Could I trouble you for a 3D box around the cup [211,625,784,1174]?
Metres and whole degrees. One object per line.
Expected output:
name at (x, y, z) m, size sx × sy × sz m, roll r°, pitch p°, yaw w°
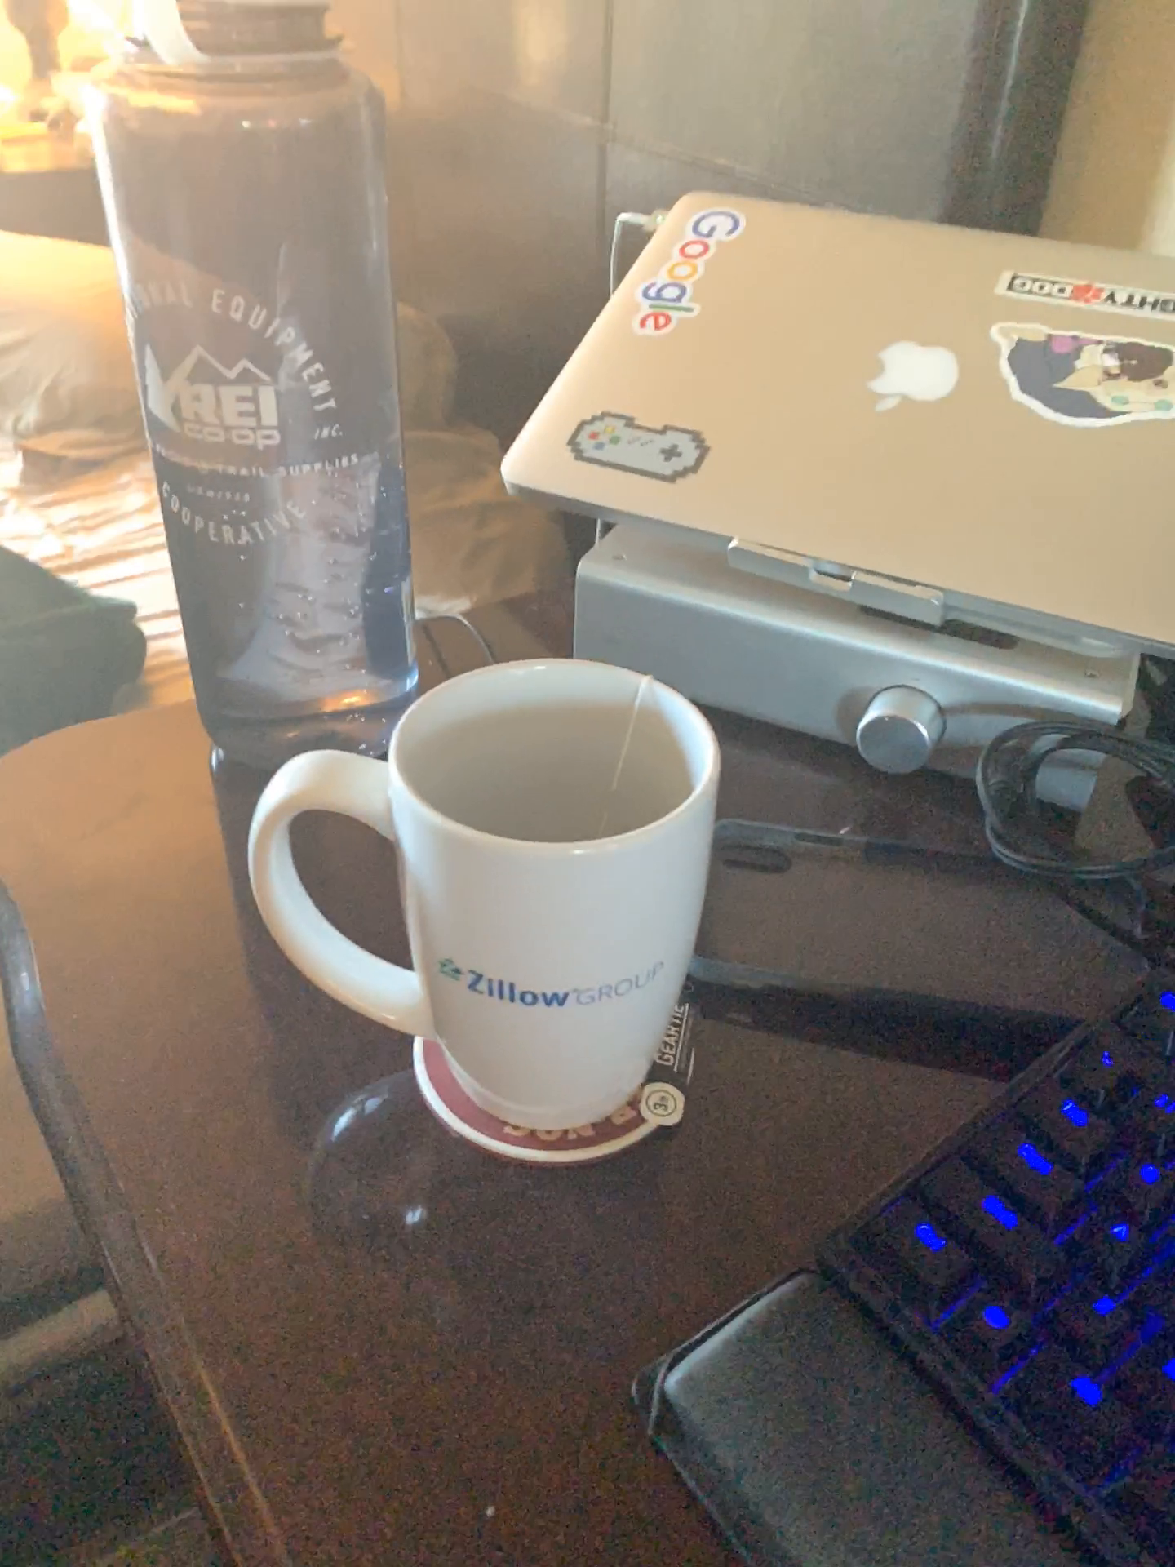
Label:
cup at (-0.029, 0.028, 0.341) m, size 0.130 × 0.099 × 0.101 m, roll -5°, pitch 38°, yaw -10°
